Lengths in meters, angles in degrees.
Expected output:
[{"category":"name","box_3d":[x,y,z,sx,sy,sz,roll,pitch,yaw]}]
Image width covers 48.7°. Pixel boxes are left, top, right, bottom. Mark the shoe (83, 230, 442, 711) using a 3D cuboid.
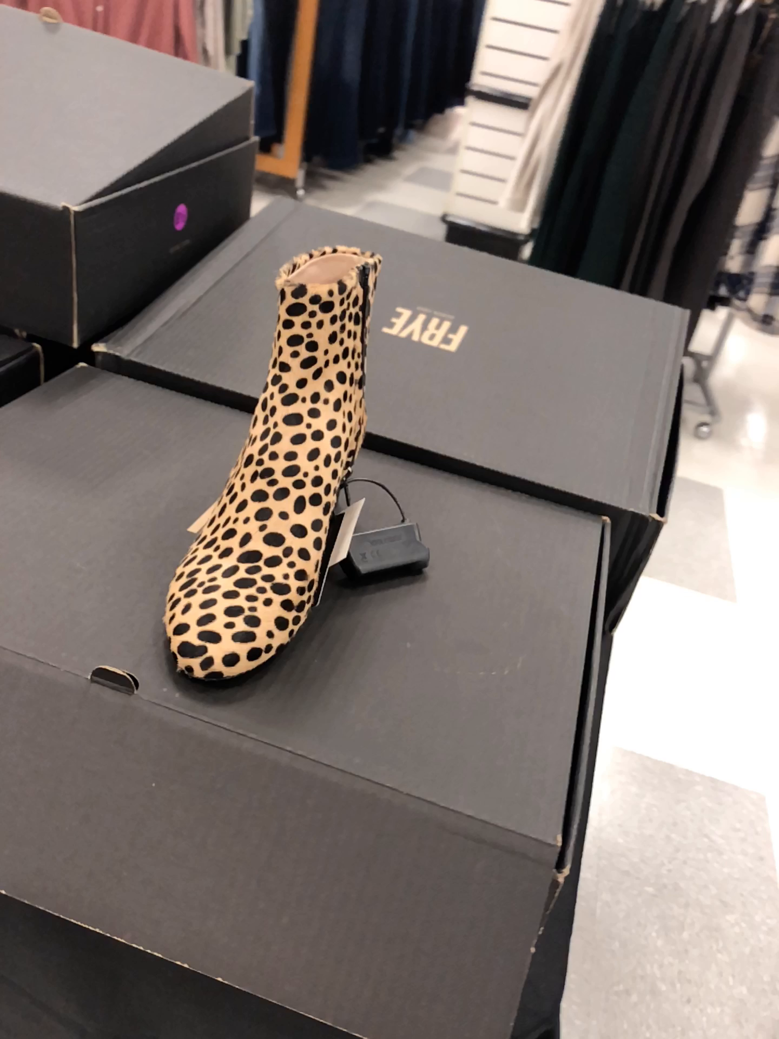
[{"category":"shoe","box_3d":[-0.060,-0.047,0.494,0.093,0.163,0.250,18,33,9]}]
